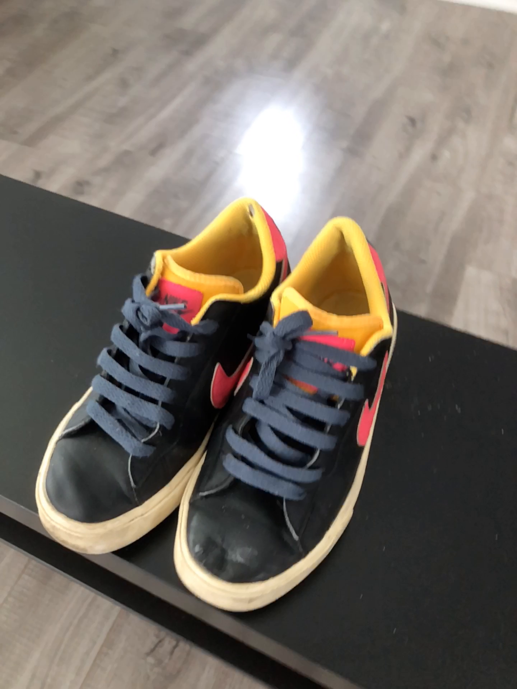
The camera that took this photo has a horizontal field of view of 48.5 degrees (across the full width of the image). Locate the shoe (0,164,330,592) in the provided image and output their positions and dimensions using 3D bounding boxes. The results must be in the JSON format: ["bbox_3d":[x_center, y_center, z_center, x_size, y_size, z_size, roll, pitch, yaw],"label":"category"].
[{"bbox_3d":[-0.054,0.005,0.361,0.095,0.100,0.244,23,55,20],"label":"shoe"}]

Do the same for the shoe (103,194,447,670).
[{"bbox_3d":[0.027,0.033,0.334,0.090,0.100,0.244,17,54,17],"label":"shoe"}]
